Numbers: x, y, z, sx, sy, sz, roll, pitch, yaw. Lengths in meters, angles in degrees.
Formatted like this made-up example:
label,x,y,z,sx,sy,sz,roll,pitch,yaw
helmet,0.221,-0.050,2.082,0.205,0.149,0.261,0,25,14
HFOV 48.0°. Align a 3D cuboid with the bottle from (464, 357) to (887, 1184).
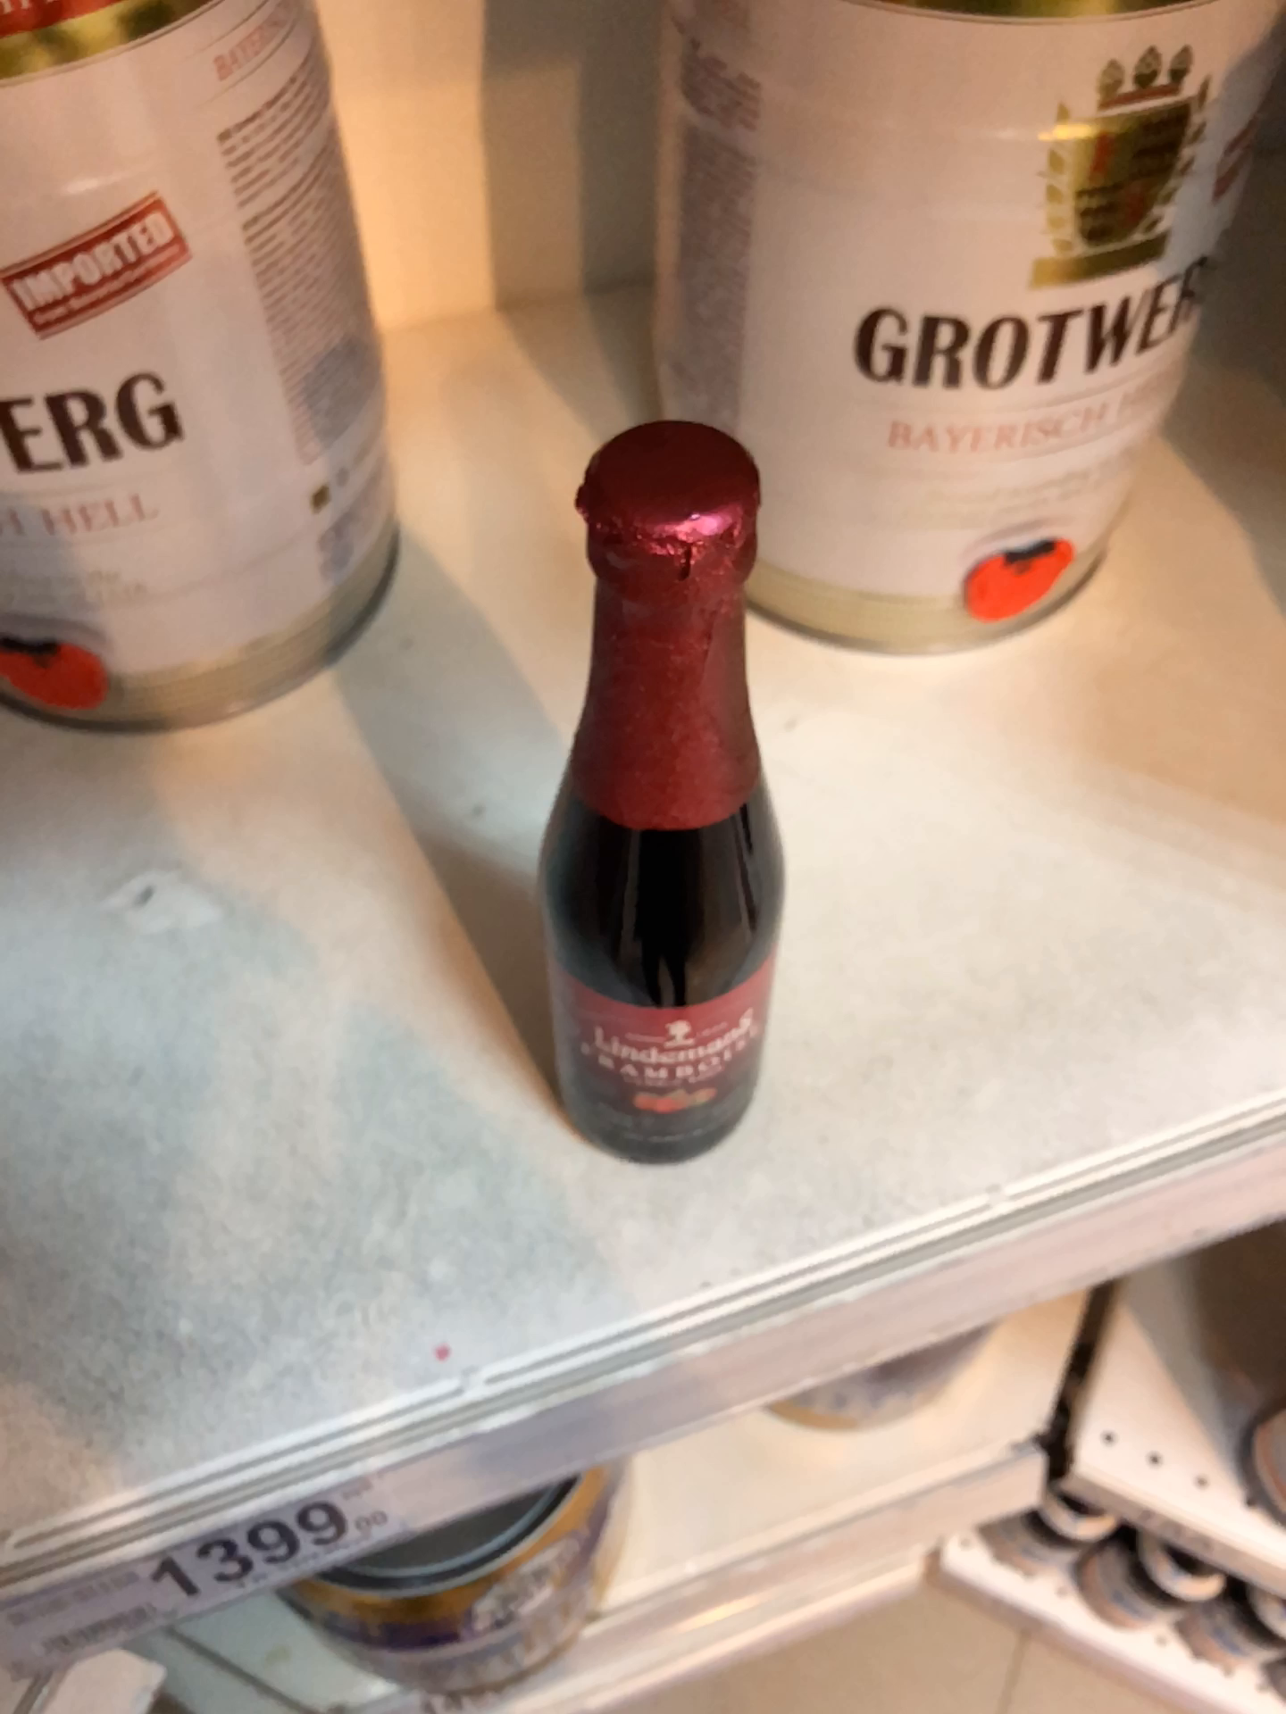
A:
label,x,y,z,sx,sy,sz,roll,pitch,yaw
bottle,0.003,0.000,0.303,0.058,0.199,0.058,0,55,0
